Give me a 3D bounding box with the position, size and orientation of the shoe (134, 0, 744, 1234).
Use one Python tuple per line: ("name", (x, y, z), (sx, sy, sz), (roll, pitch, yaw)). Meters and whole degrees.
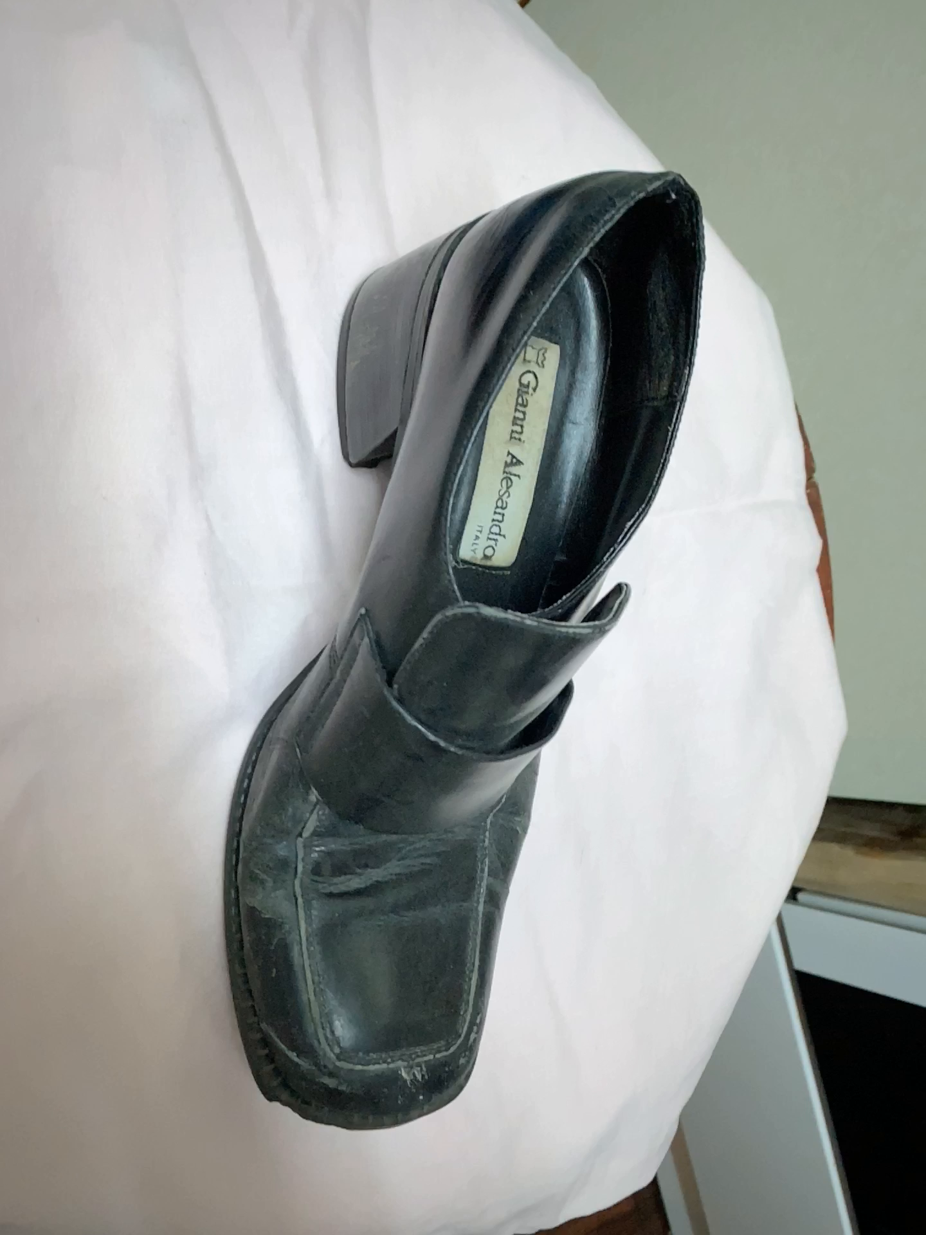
("shoe", (-0.005, -0.001, 0.235), (0.090, 0.092, 0.240), (12, 79, -29))
